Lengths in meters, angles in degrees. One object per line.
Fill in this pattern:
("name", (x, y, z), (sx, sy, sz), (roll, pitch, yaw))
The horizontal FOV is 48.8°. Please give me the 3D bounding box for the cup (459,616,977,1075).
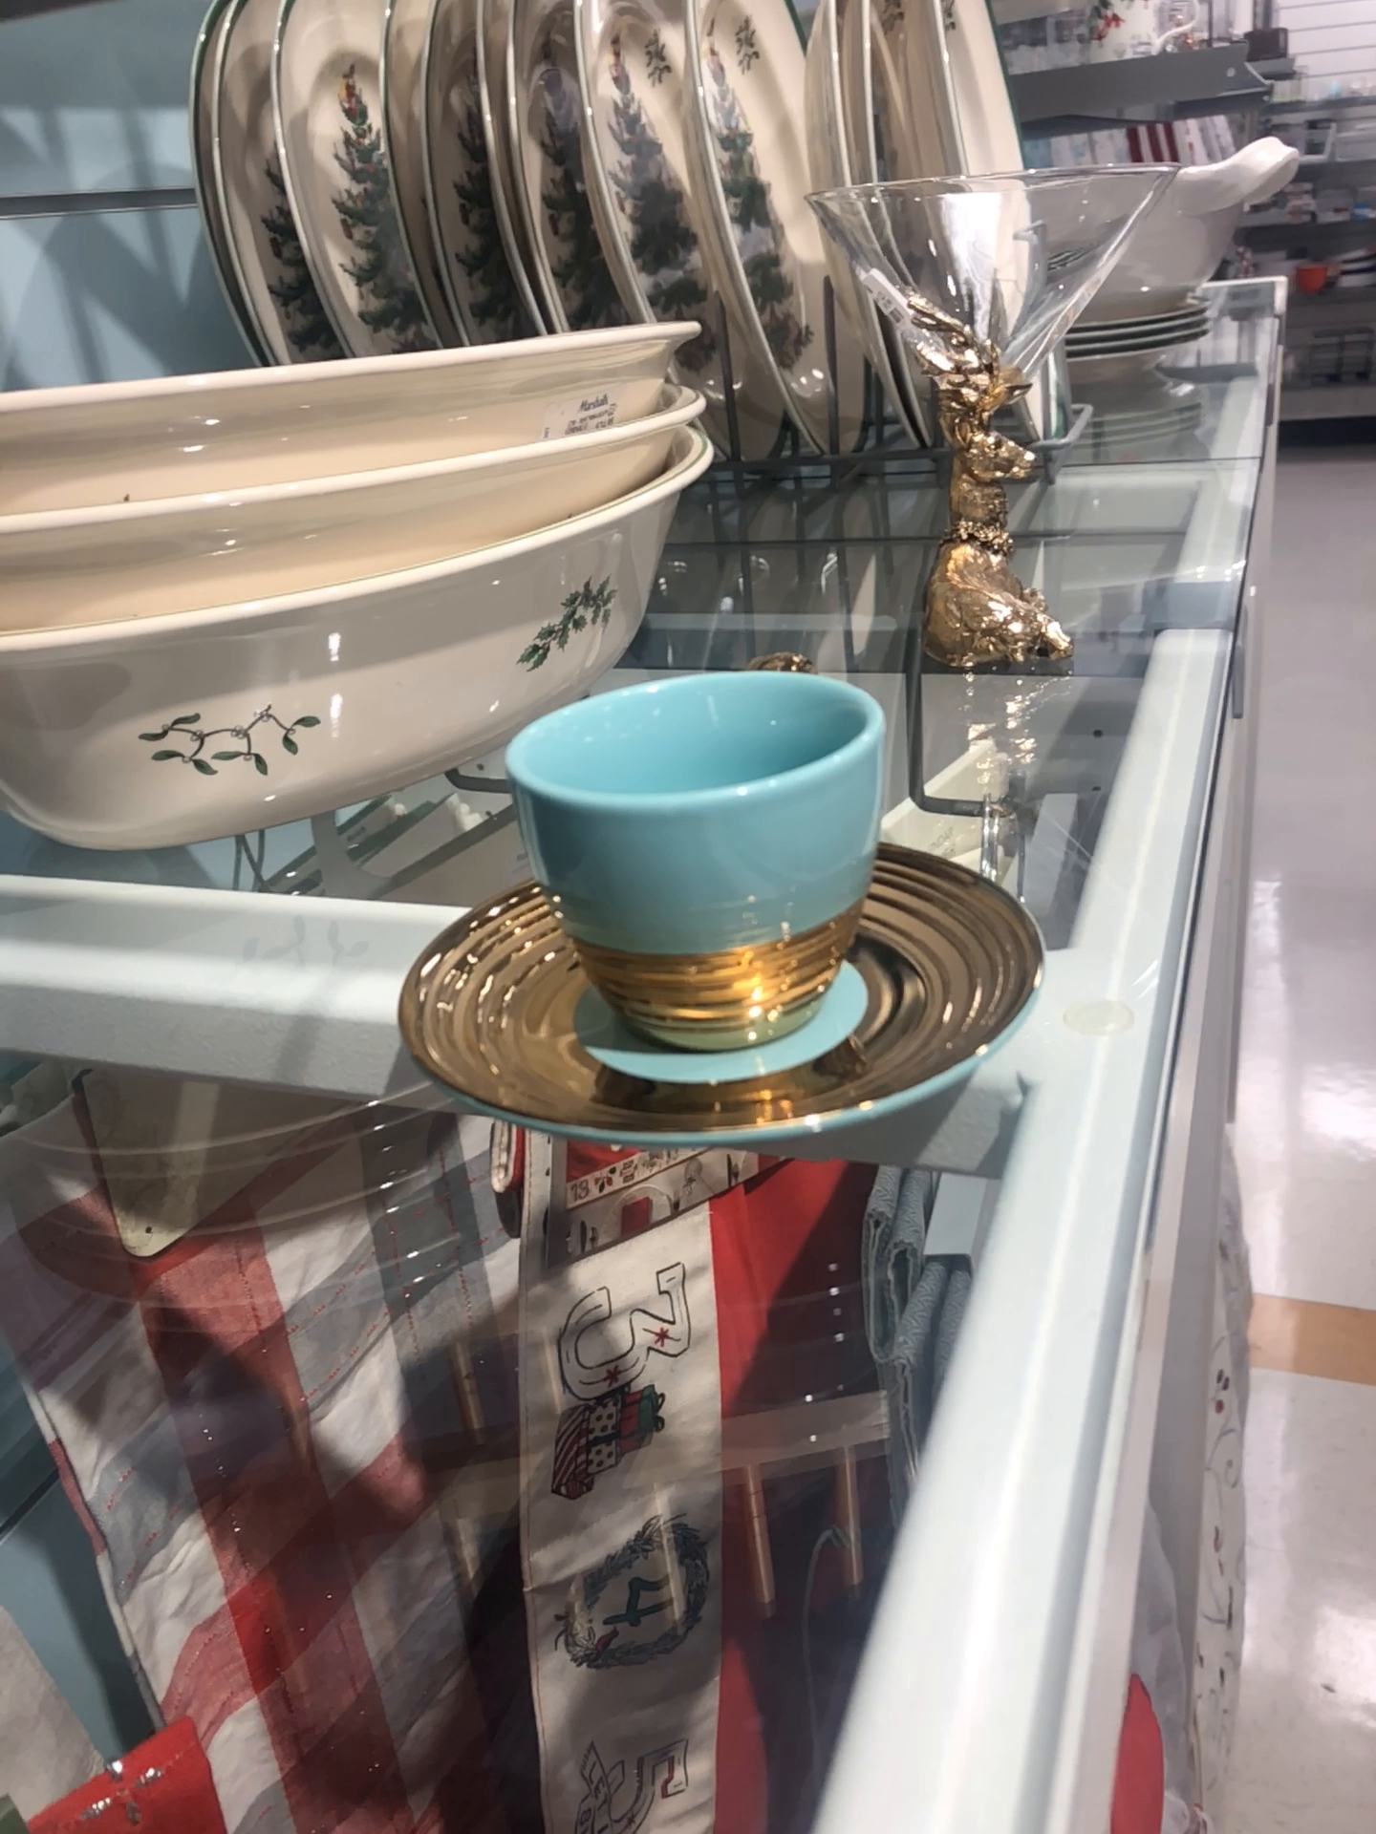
("cup", (0.012, -0.017, 0.271), (0.070, 0.050, 0.084), (2, 26, 16))
